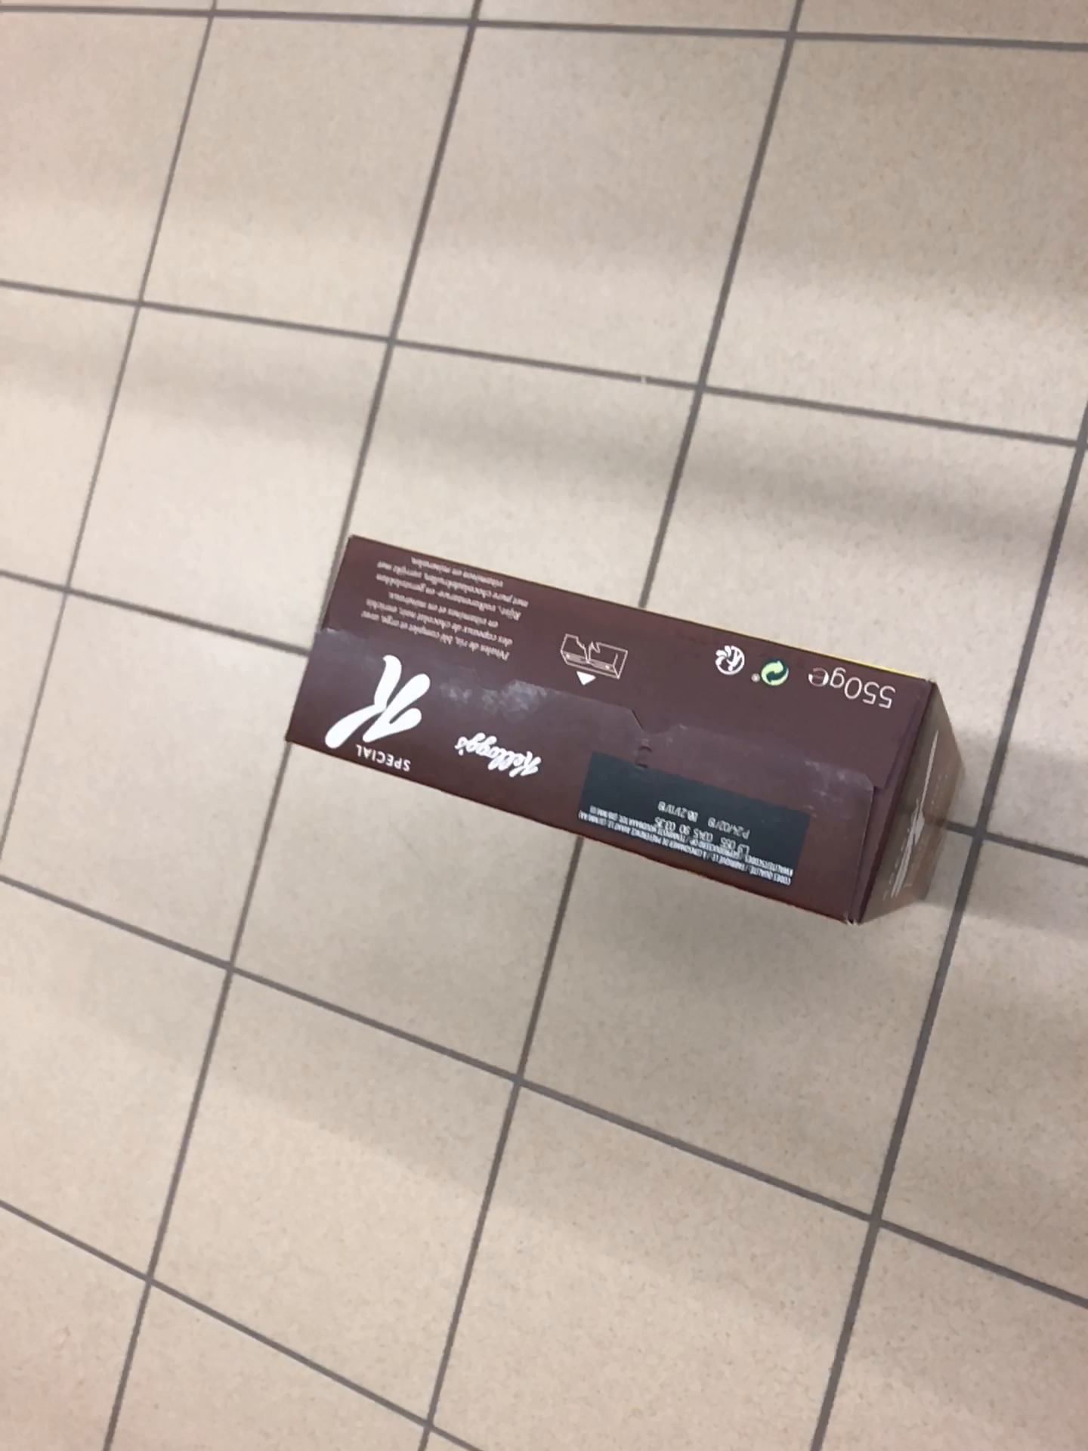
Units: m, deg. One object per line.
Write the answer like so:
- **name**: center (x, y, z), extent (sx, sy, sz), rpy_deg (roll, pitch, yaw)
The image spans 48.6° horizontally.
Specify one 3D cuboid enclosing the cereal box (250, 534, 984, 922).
- **cereal box**: center (0.061, 0.015, 0.489), extent (0.210, 0.300, 0.070), rpy_deg (13, 87, 21)
